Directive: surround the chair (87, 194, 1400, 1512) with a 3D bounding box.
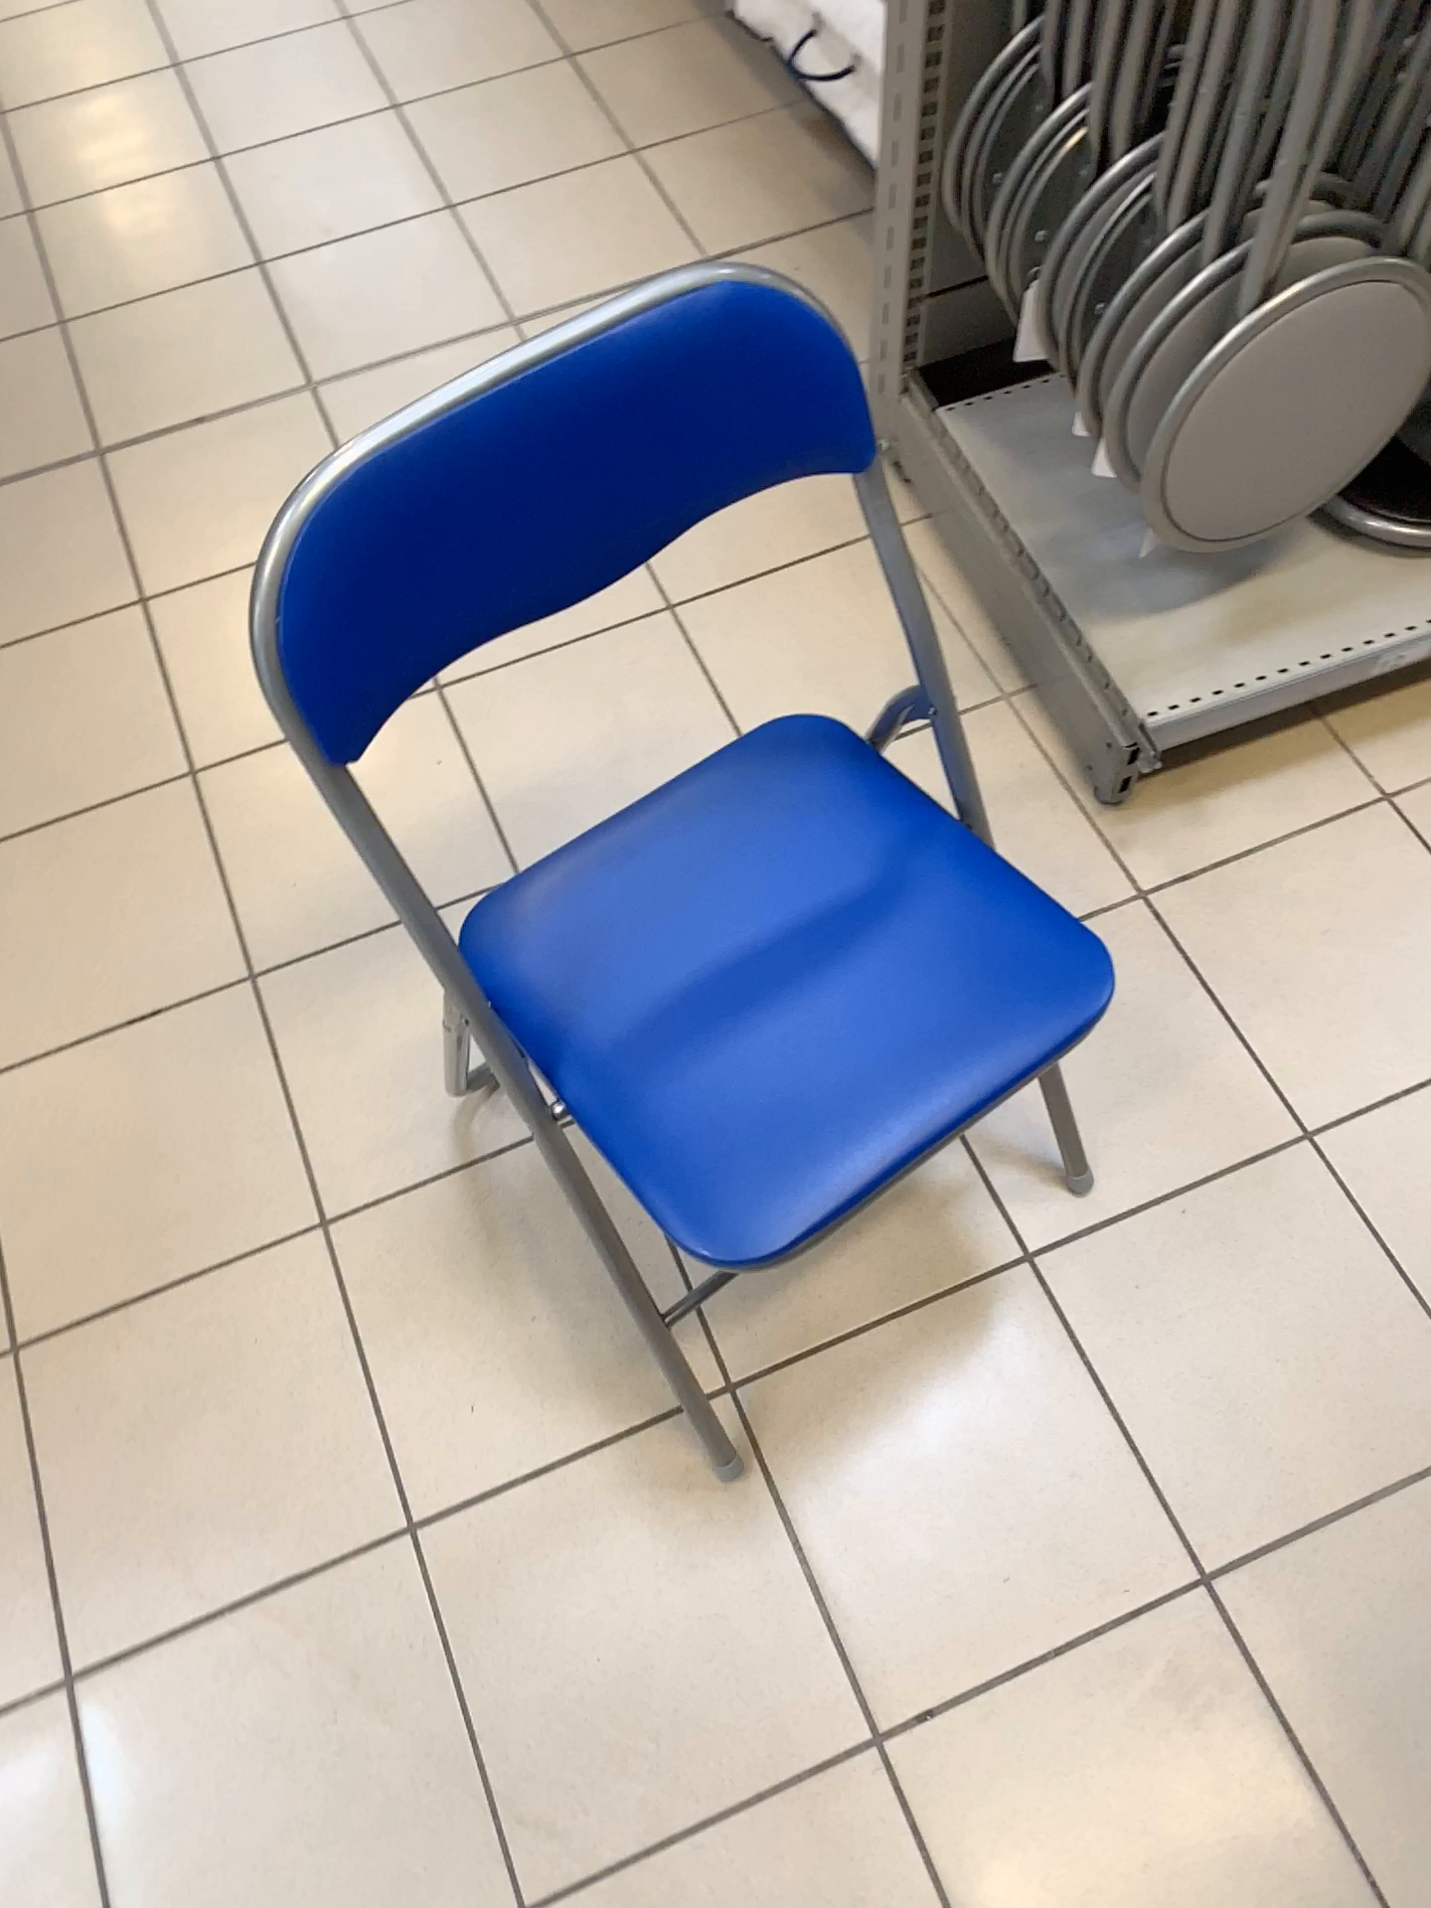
[{"bbox_3d":[0.012,-0.024,1.064,0.479,0.664,0.525,-35,64,-16],"label":"chair"}]
